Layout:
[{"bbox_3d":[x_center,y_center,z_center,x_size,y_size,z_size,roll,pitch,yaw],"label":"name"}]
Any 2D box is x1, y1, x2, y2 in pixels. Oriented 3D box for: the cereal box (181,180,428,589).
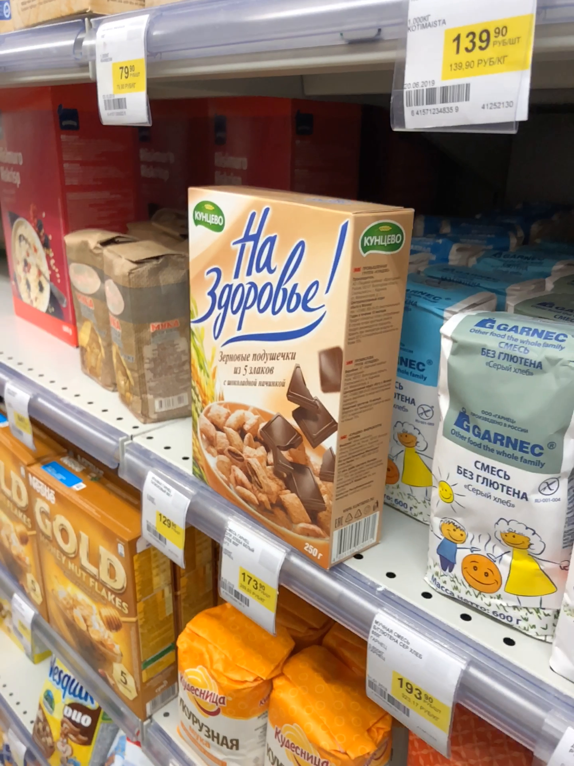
[{"bbox_3d":[-0.001,-0.010,0.409,0.050,0.219,0.160,-15,26,-38],"label":"cereal box"}]
